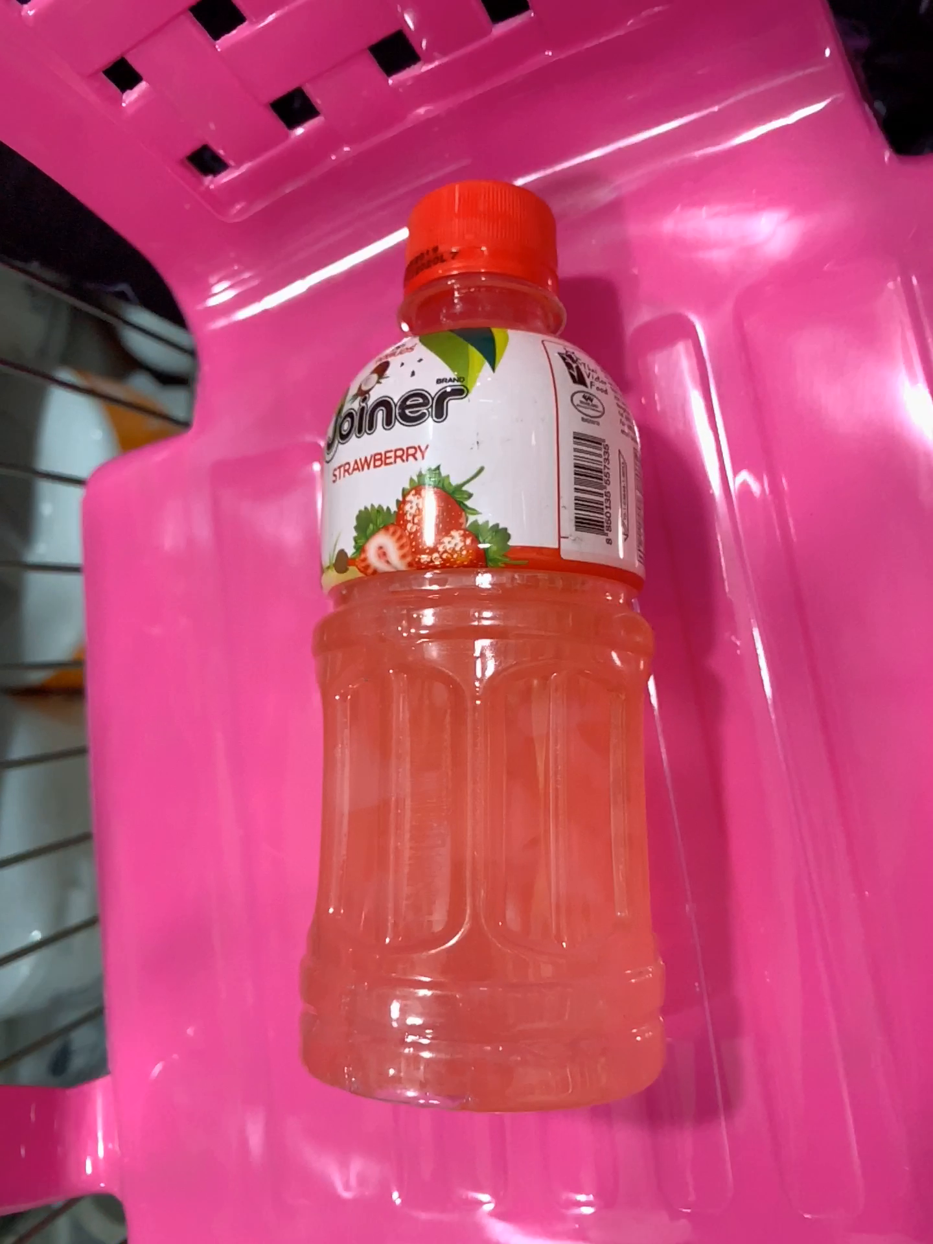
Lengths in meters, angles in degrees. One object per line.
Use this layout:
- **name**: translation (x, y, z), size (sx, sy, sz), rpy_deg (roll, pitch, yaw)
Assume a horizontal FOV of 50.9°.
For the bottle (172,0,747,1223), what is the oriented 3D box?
- **bottle**: translation (0.001, -0.005, 0.168), size (0.070, 0.070, 0.160), rpy_deg (-5, 83, 24)
